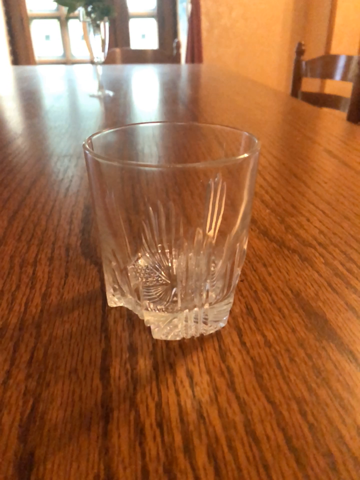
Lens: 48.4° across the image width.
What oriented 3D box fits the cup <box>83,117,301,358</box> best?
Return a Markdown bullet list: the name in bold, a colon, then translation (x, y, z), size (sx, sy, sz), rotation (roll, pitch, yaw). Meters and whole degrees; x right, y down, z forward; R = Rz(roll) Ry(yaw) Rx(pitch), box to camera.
- **cup**: translation (-0.001, -0.009, 0.203), size (0.080, 0.084, 0.085), rotation (-1, 27, 0)
